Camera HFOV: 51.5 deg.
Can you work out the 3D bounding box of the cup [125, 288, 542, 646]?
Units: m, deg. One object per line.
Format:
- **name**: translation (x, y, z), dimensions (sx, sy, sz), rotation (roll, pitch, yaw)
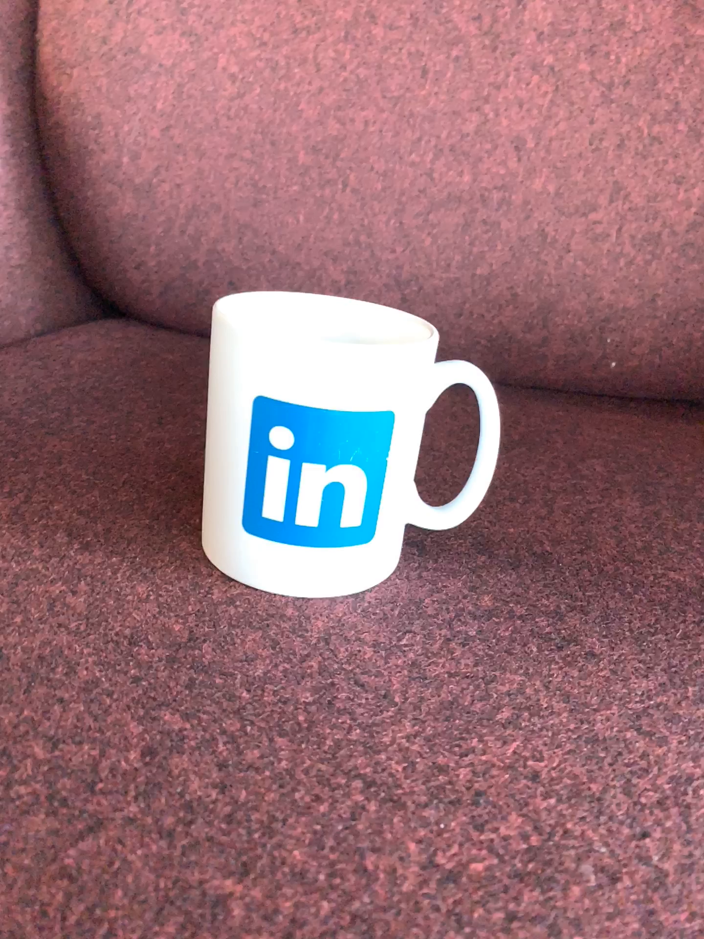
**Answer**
- **cup**: translation (-0.006, -0.008, 0.267), dimensions (0.120, 0.089, 0.091), rotation (7, 23, 3)
